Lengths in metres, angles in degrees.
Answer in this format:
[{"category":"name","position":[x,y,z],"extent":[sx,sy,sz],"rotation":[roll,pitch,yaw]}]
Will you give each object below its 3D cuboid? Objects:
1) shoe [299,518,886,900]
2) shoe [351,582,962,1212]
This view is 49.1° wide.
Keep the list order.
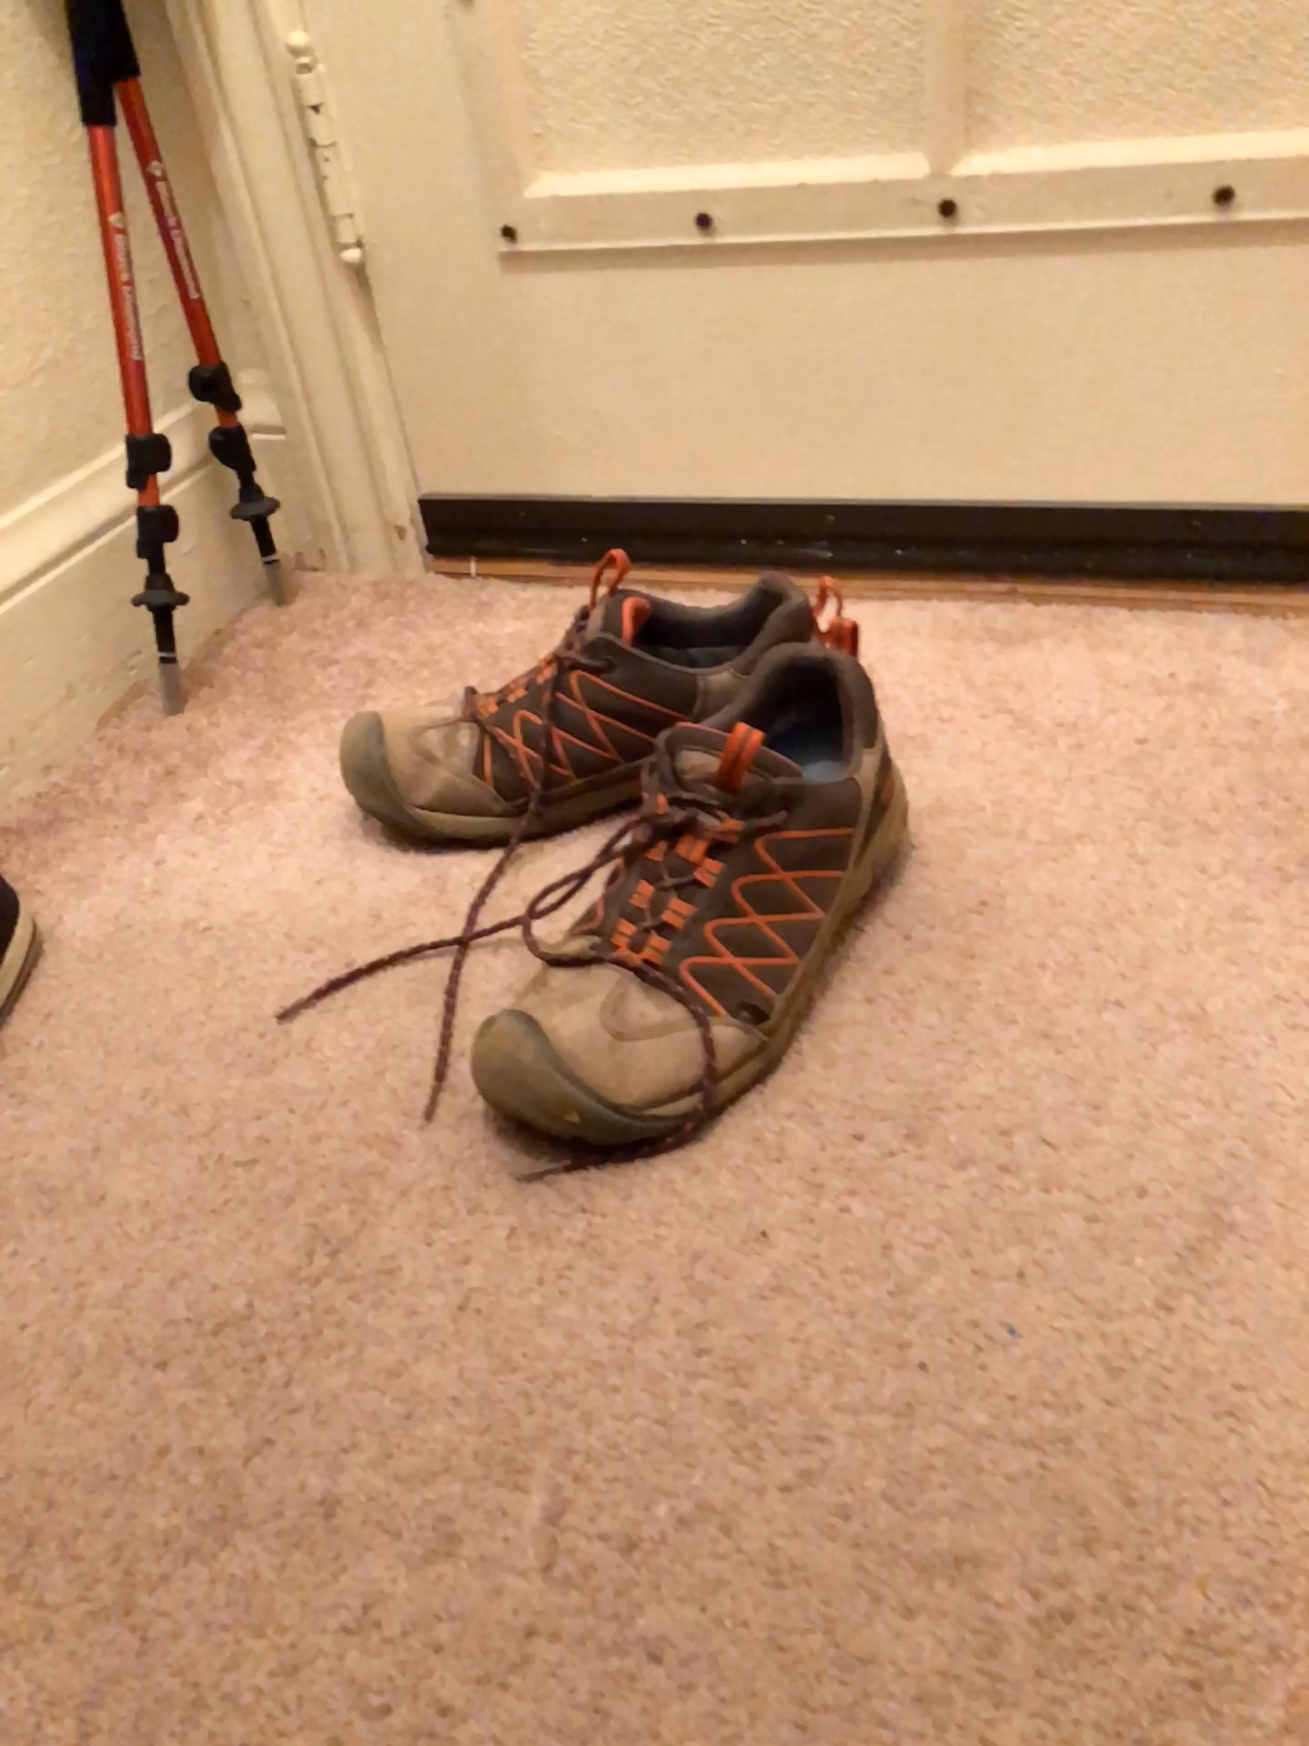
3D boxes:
[{"category":"shoe","position":[-0.031,-0.095,0.821],"extent":[0.300,0.129,0.121],"rotation":[-9,36,0]},{"category":"shoe","position":[0.018,-0.005,0.651],"extent":[0.120,0.129,0.271],"rotation":[21,46,34]}]
